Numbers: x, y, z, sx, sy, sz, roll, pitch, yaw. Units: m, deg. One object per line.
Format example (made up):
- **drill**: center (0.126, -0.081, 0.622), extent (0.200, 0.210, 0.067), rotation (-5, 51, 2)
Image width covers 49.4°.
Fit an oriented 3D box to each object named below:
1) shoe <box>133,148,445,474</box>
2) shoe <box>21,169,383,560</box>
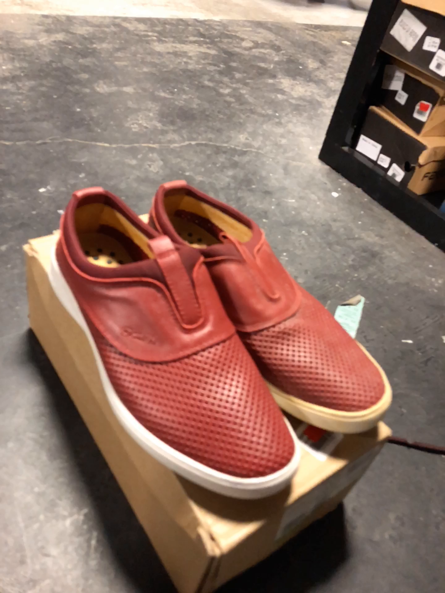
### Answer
- **shoe**: center (0.040, -0.005, 0.379), extent (0.100, 0.109, 0.231), rotation (-24, 54, -36)
- **shoe**: center (-0.033, 0.027, 0.329), extent (0.100, 0.109, 0.231), rotation (-24, 54, -36)
